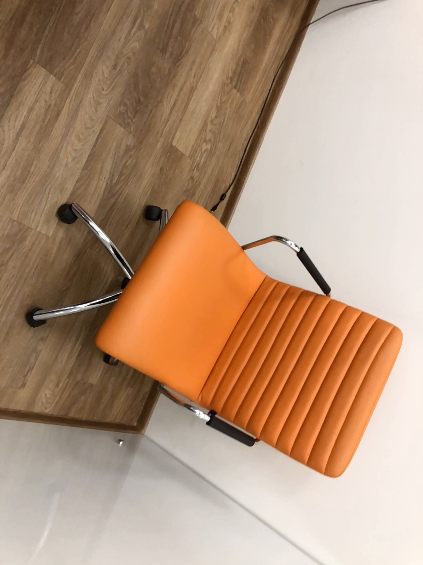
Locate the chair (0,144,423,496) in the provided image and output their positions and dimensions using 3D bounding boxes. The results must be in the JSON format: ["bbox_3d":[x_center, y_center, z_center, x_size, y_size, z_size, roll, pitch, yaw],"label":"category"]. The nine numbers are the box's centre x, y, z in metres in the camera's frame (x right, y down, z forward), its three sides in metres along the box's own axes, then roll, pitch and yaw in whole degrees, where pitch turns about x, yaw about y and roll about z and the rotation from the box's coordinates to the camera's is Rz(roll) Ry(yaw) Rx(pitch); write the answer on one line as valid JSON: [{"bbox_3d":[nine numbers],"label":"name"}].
[{"bbox_3d":[-0.005,0.067,1.363,0.663,0.895,0.620,37,75,-46],"label":"chair"}]
